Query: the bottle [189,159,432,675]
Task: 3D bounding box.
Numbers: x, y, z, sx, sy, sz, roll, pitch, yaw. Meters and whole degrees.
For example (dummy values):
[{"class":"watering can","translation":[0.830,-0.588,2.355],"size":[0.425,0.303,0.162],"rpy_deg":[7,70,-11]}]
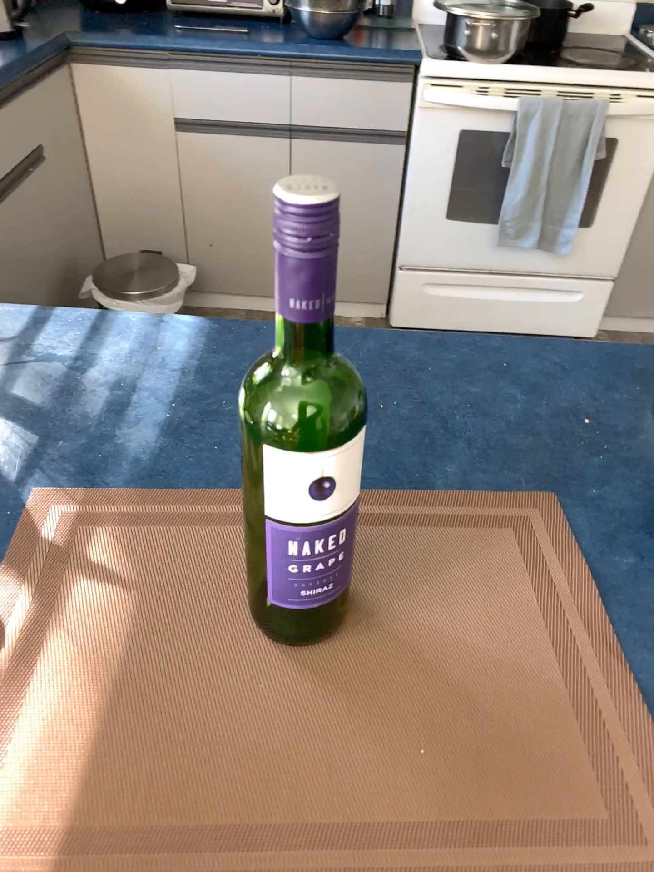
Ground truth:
[{"class":"bottle","translation":[-0.016,0.010,0.373],"size":[0.080,0.287,0.081],"rpy_deg":[2,40,-2]}]
